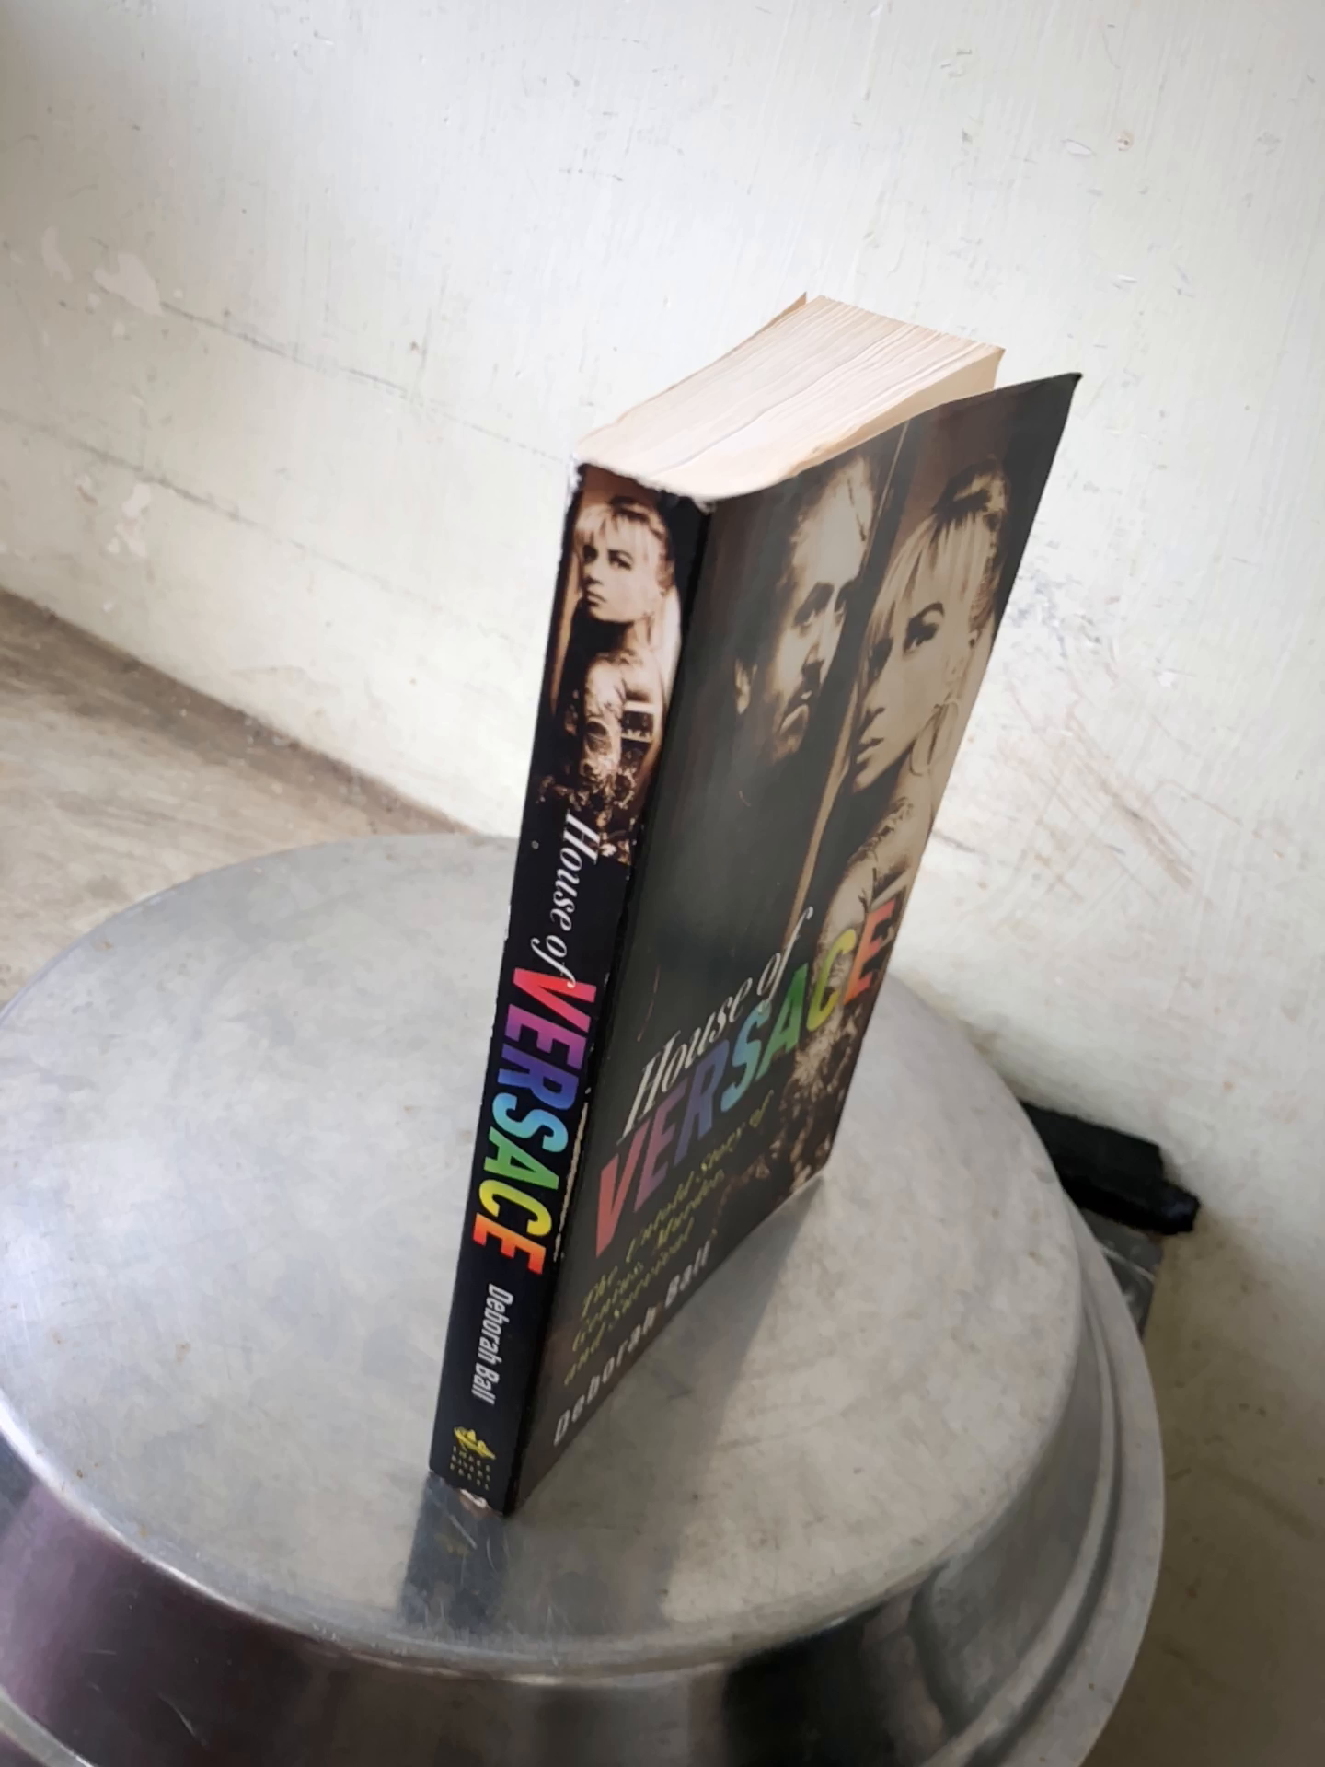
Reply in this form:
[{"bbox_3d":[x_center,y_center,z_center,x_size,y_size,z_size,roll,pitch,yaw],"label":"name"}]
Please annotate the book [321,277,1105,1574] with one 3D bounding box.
[{"bbox_3d":[0.014,-0.003,0.308,0.040,0.219,0.181,25,31,17],"label":"book"}]
